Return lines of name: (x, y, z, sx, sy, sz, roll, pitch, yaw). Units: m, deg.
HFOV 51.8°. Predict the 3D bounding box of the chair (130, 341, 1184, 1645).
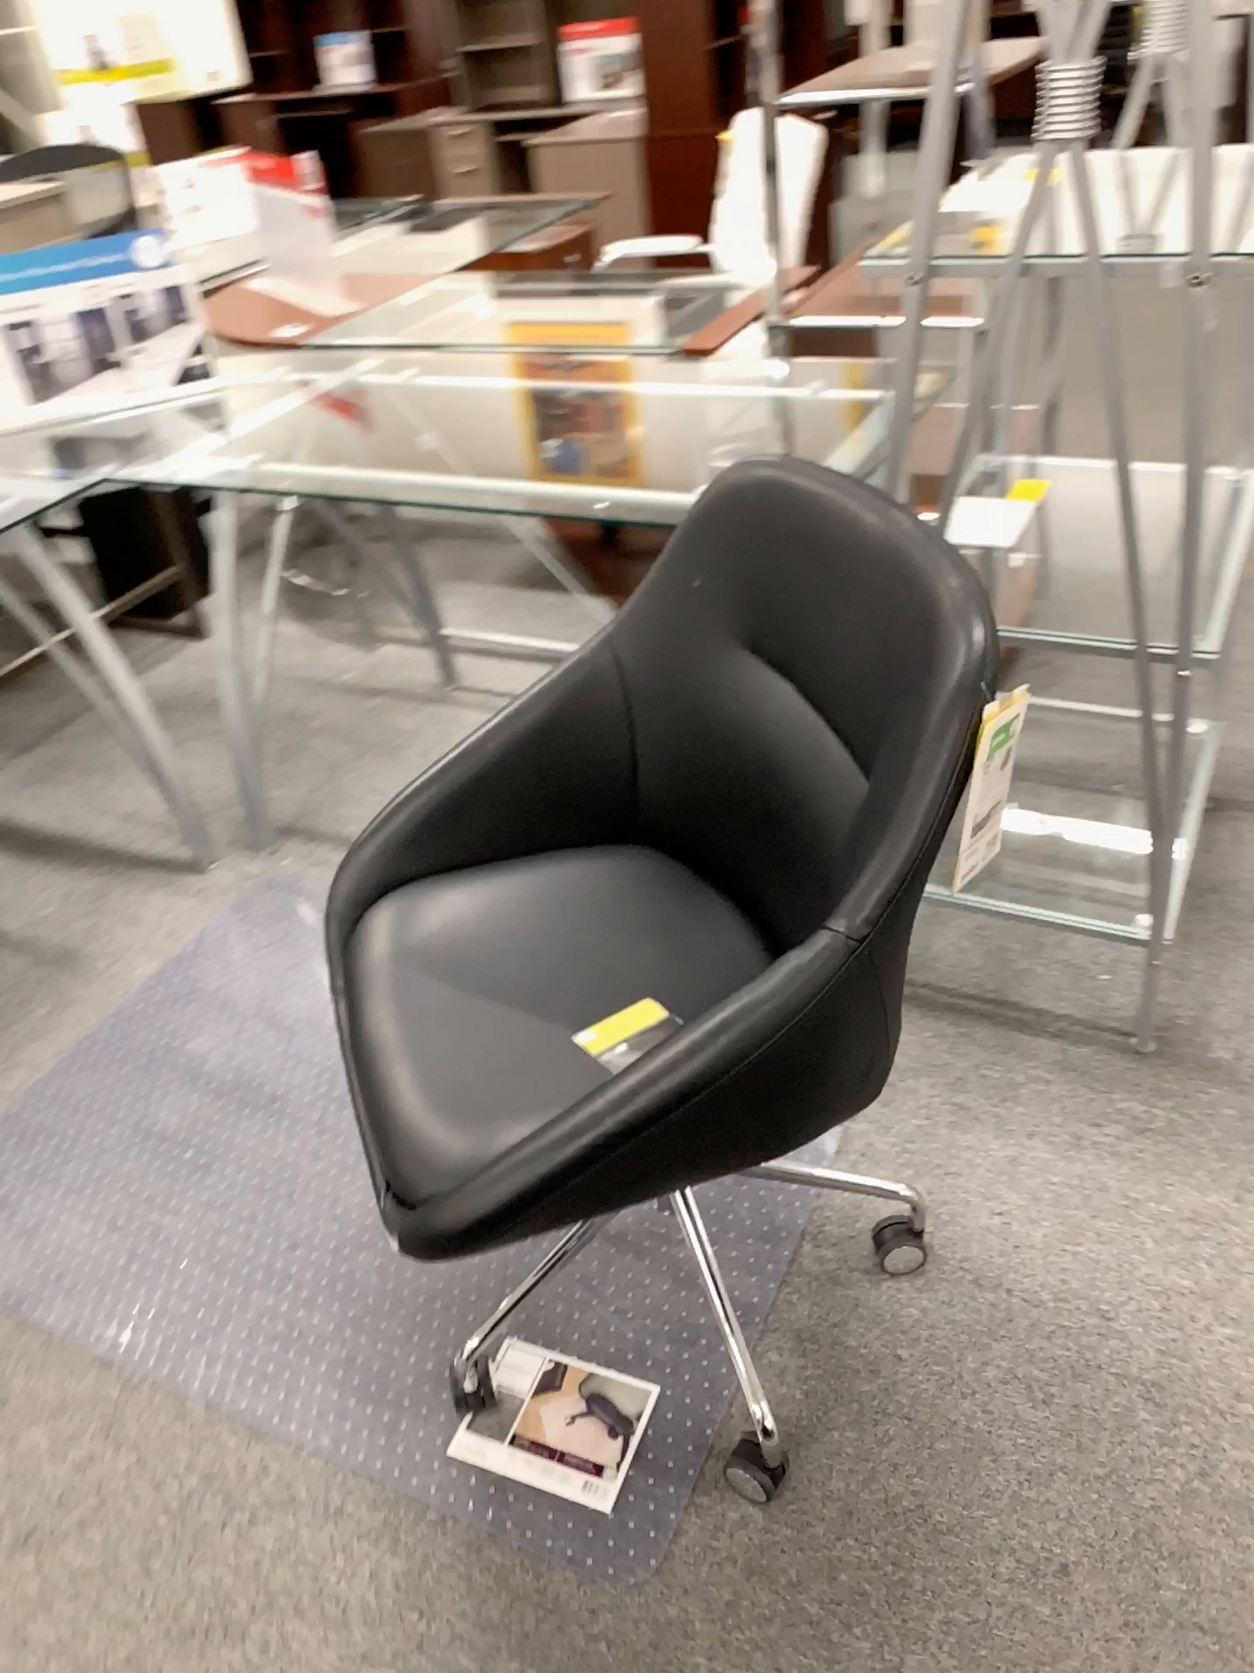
chair: (-0.011, 0.109, 1.246, 0.620, 0.885, 0.673, -16, 36, -12)
